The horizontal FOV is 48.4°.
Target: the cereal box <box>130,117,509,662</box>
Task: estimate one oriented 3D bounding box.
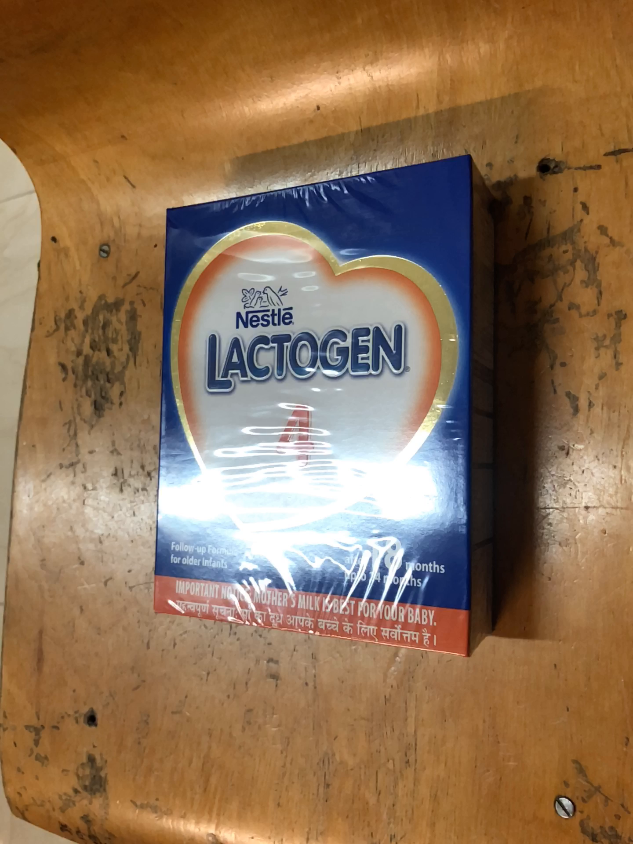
[{"bbox_3d":[0.000,-0.010,0.304,0.150,0.060,0.190,-1,87,26],"label":"cereal box"}]
